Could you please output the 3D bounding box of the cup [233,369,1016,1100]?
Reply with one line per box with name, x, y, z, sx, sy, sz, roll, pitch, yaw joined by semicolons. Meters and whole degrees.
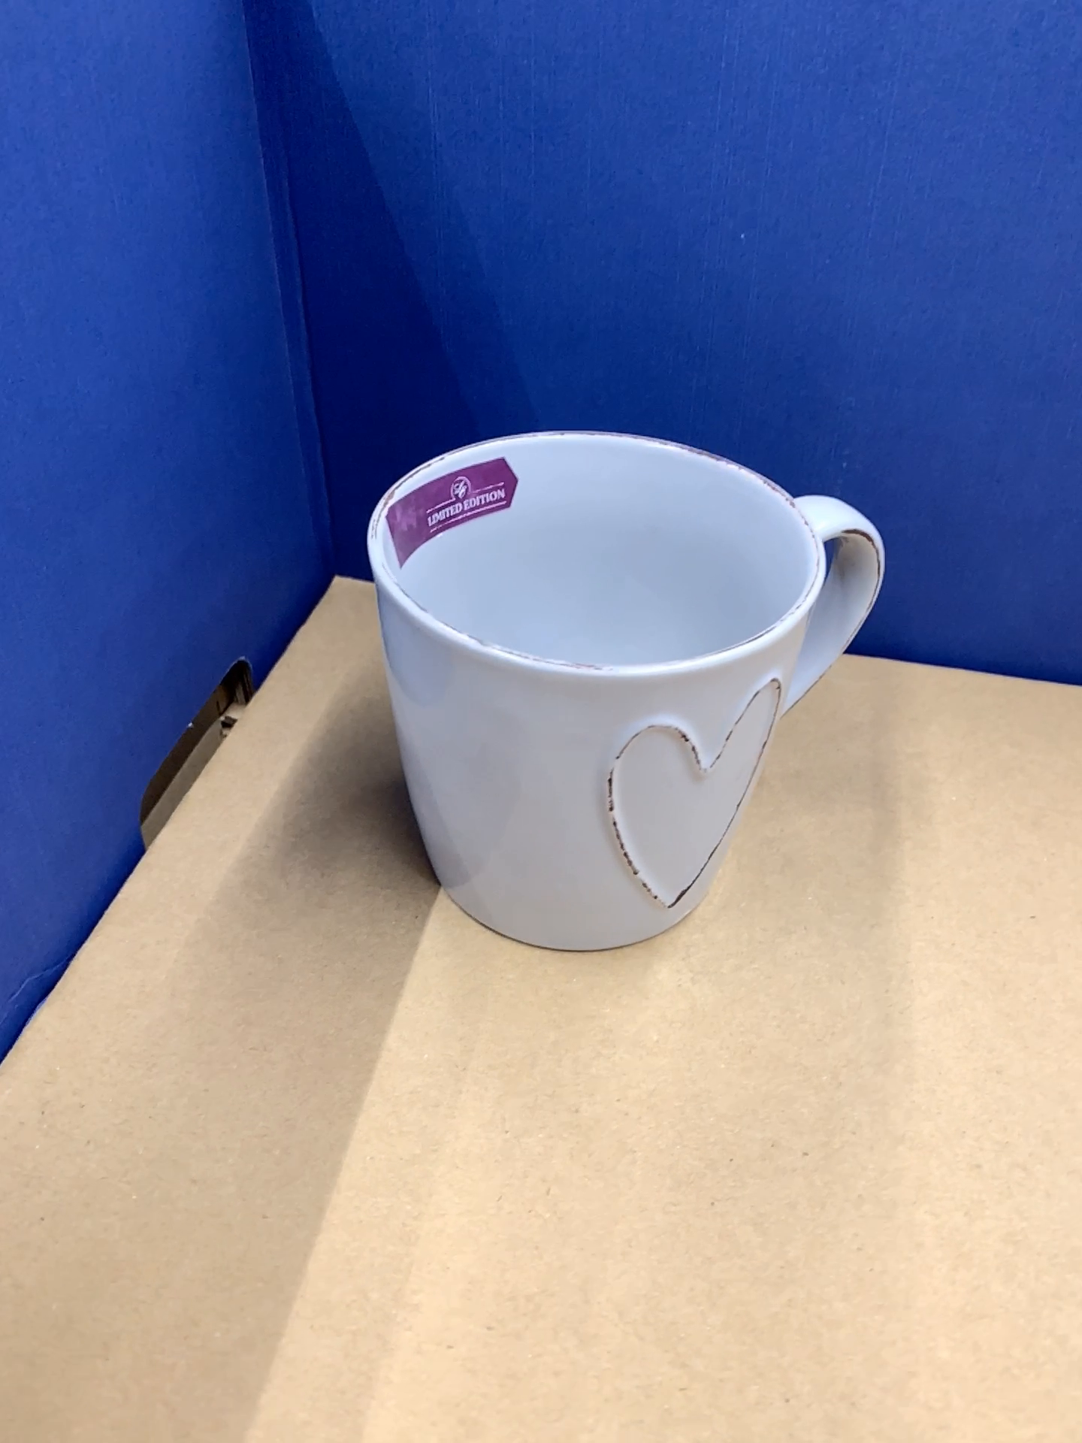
cup;0.018;-0.008;0.245;0.125;0.085;0.091;-27;45;-31
